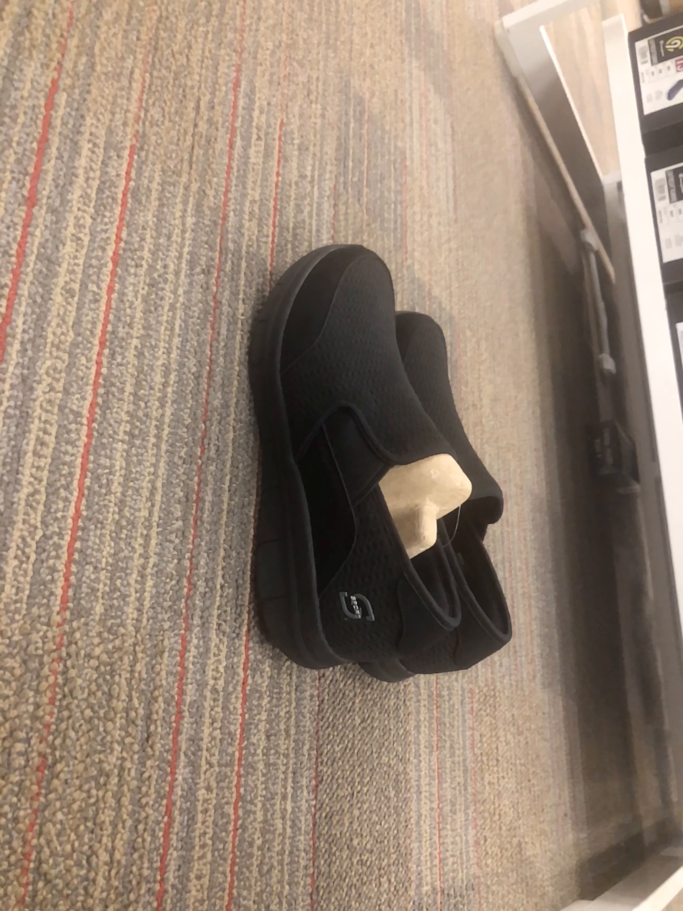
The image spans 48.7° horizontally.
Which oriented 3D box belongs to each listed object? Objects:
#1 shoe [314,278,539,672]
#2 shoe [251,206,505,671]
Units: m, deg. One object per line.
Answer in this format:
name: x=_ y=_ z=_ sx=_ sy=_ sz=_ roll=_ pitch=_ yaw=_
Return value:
shoe: x=0.060 y=0.023 z=0.545 sx=0.121 sy=0.109 sz=0.247 roll=29 pitch=56 yaw=-55
shoe: x=0.023 y=0.000 z=0.478 sx=0.117 sy=0.105 sz=0.257 roll=26 pitch=58 yaw=-55
